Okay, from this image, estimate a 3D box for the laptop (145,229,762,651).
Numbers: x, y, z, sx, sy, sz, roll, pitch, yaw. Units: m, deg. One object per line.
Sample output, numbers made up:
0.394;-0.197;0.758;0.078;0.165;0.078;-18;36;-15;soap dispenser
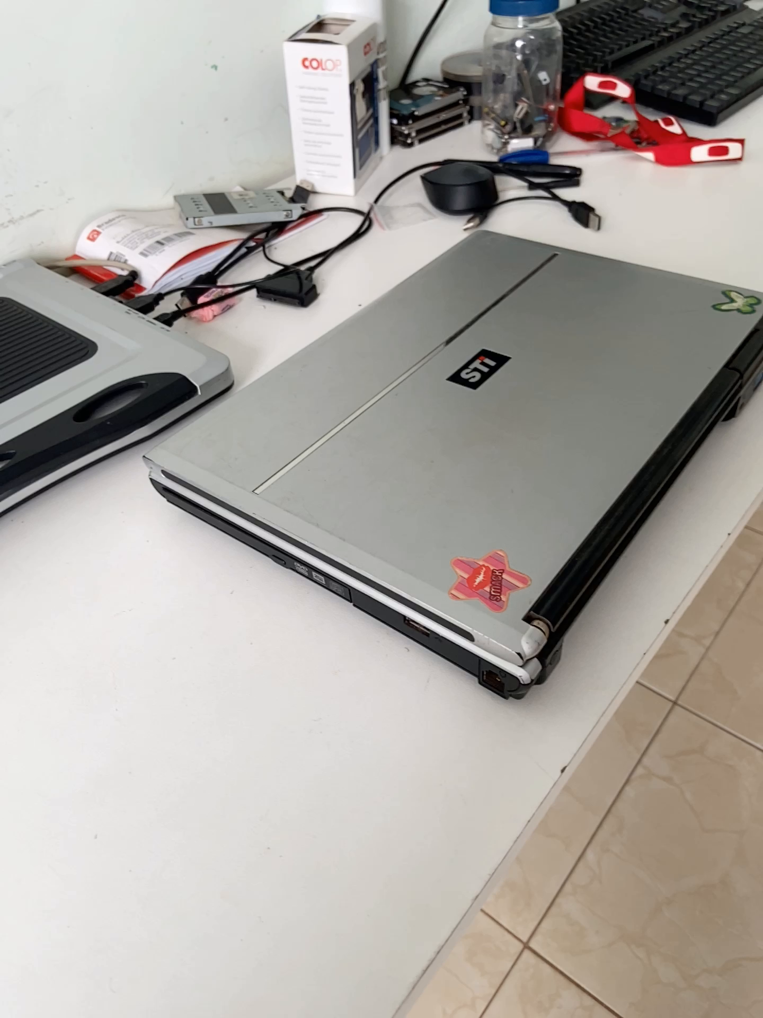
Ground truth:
0.068;-0.081;0.472;0.234;0.004;0.340;25;50;29;laptop
